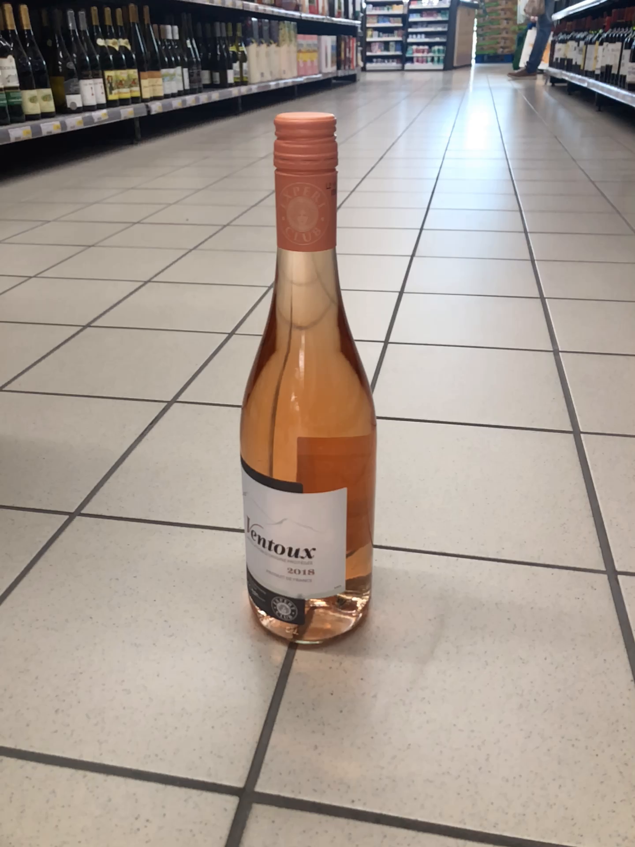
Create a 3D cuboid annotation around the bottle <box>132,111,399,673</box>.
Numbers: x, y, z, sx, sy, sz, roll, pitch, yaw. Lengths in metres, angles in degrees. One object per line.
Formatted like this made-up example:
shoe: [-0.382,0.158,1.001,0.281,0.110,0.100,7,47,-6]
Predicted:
bottle: [-0.020,-0.014,0.376,0.090,0.278,0.080,19,33,35]
